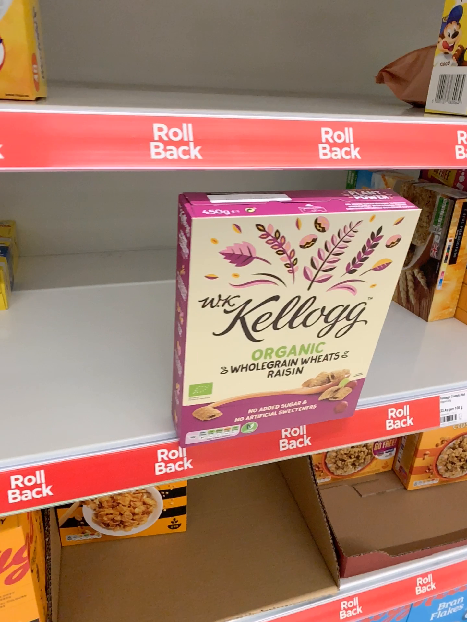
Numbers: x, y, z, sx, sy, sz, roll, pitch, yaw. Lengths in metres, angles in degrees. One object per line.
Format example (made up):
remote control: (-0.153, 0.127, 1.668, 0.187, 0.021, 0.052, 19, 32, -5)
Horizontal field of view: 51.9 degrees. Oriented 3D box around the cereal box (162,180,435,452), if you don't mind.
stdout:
cereal box: (0.043, 0.005, 0.420, 0.200, 0.218, 0.061, -6, 33, -17)
